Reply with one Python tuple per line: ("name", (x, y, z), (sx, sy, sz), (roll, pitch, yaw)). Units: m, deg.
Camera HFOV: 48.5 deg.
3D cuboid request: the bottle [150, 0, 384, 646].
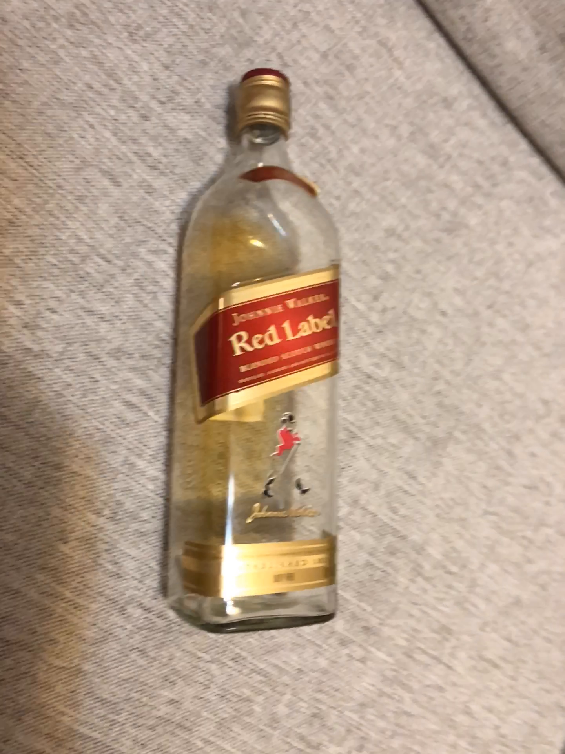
("bottle", (-0.007, -0.034, 0.334), (0.090, 0.070, 0.310), (5, 84, -28))
